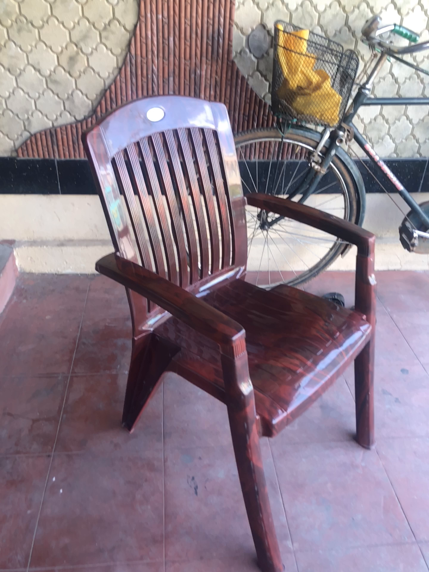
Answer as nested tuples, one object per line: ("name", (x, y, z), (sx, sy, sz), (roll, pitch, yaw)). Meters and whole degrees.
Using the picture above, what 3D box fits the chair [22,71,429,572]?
("chair", (0.086, 0.042, 1.096), (0.700, 0.845, 0.593), (29, 42, 34))
